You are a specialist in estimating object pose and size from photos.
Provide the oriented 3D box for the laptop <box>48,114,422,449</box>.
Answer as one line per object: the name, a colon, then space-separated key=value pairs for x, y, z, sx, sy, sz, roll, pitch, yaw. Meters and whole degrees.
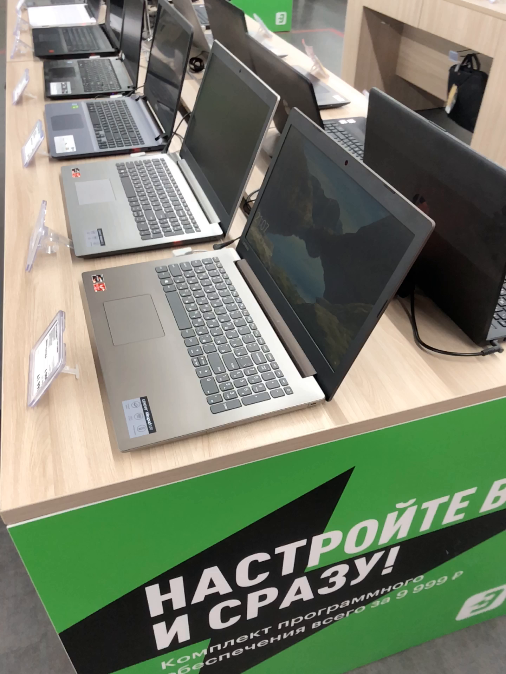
laptop: x=-0.052 y=-0.099 z=0.688 sx=0.328 sy=0.209 sz=0.352 roll=-12 pitch=41 yaw=-14

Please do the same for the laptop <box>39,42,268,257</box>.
laptop: x=-0.181 y=-0.351 z=0.983 sx=0.323 sy=0.207 sz=0.344 roll=-12 pitch=42 yaw=-15
